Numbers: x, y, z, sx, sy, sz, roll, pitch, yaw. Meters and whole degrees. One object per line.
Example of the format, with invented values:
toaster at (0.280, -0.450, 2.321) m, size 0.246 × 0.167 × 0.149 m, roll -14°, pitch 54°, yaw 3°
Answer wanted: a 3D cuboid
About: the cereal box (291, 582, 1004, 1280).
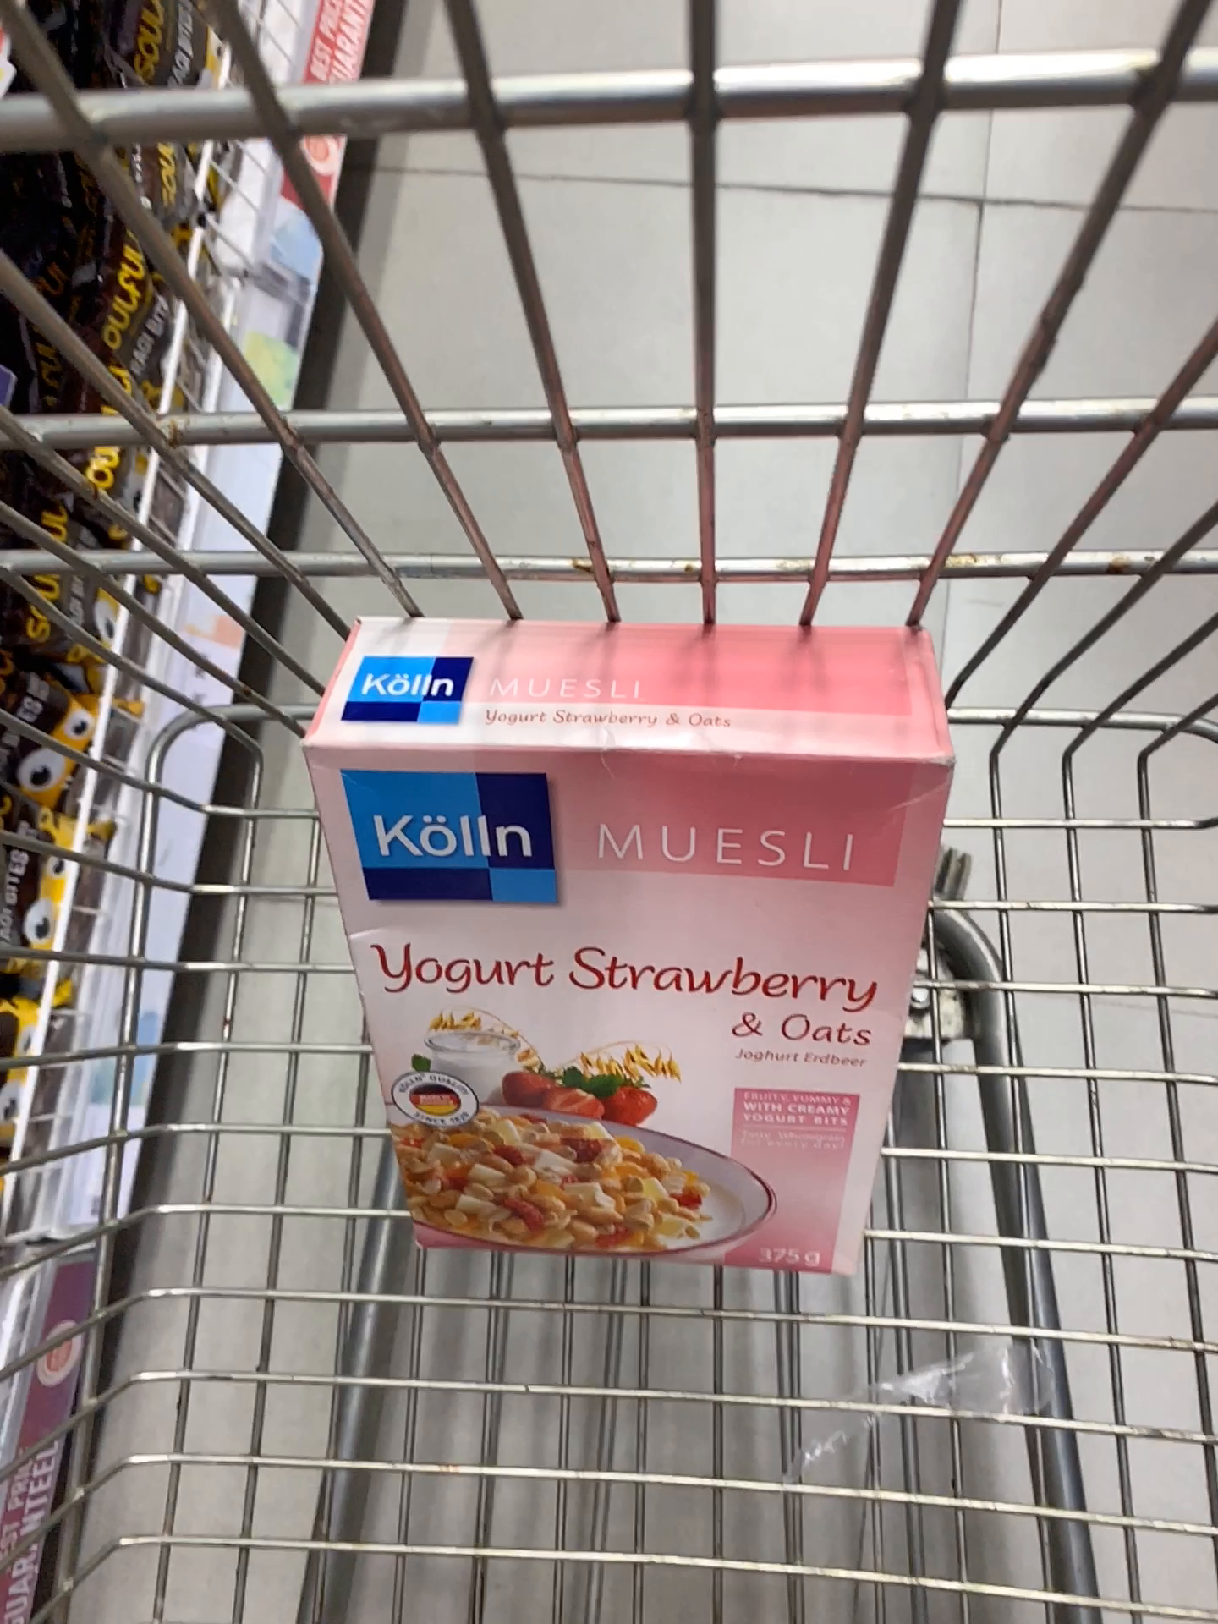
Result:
cereal box at (0.012, 0.046, 0.353) m, size 0.150 × 0.220 × 0.050 m, roll 2°, pitch 40°, yaw 5°
